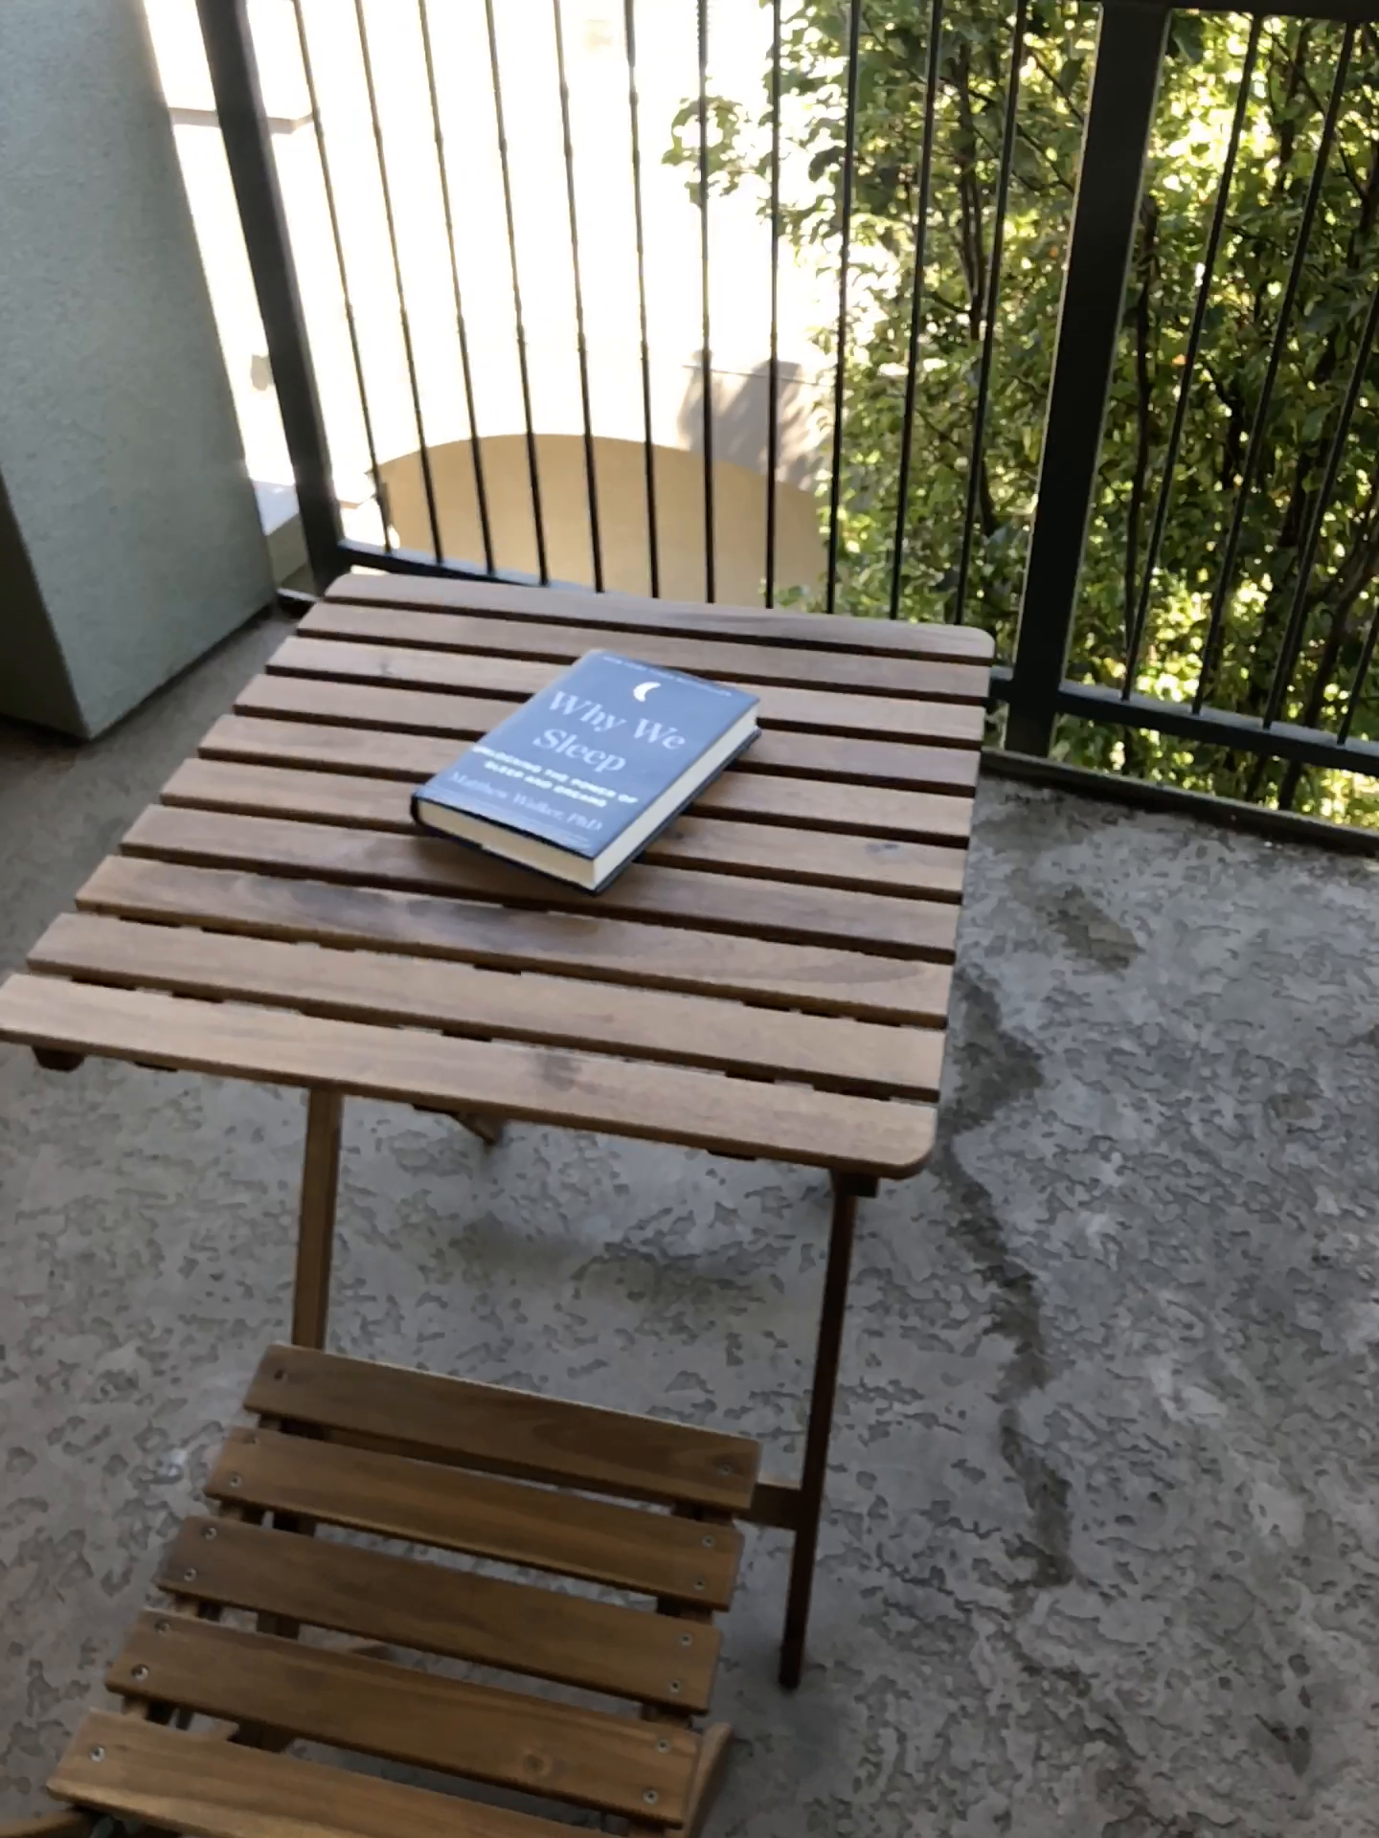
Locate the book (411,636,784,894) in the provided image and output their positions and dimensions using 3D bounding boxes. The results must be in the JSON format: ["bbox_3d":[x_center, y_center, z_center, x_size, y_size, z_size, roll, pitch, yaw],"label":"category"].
[{"bbox_3d":[-0.063,-0.123,1.135,0.170,0.029,0.235,22,46,25],"label":"book"}]
